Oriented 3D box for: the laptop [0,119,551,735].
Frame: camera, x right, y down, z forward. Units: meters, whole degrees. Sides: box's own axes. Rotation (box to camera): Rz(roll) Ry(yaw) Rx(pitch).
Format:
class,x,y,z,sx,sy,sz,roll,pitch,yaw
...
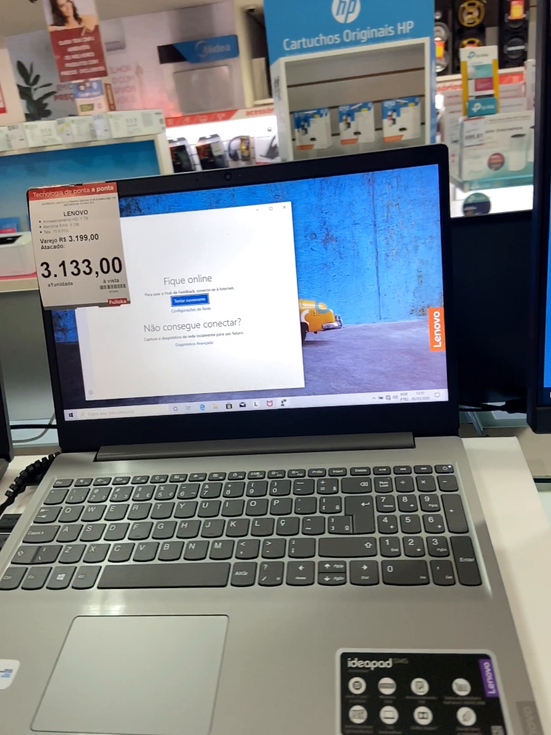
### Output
class,x,y,z,sx,sy,sz,roll,pitch,yaw
laptop,-0.042,0.004,0.400,0.362,0.224,0.361,-4,30,8
